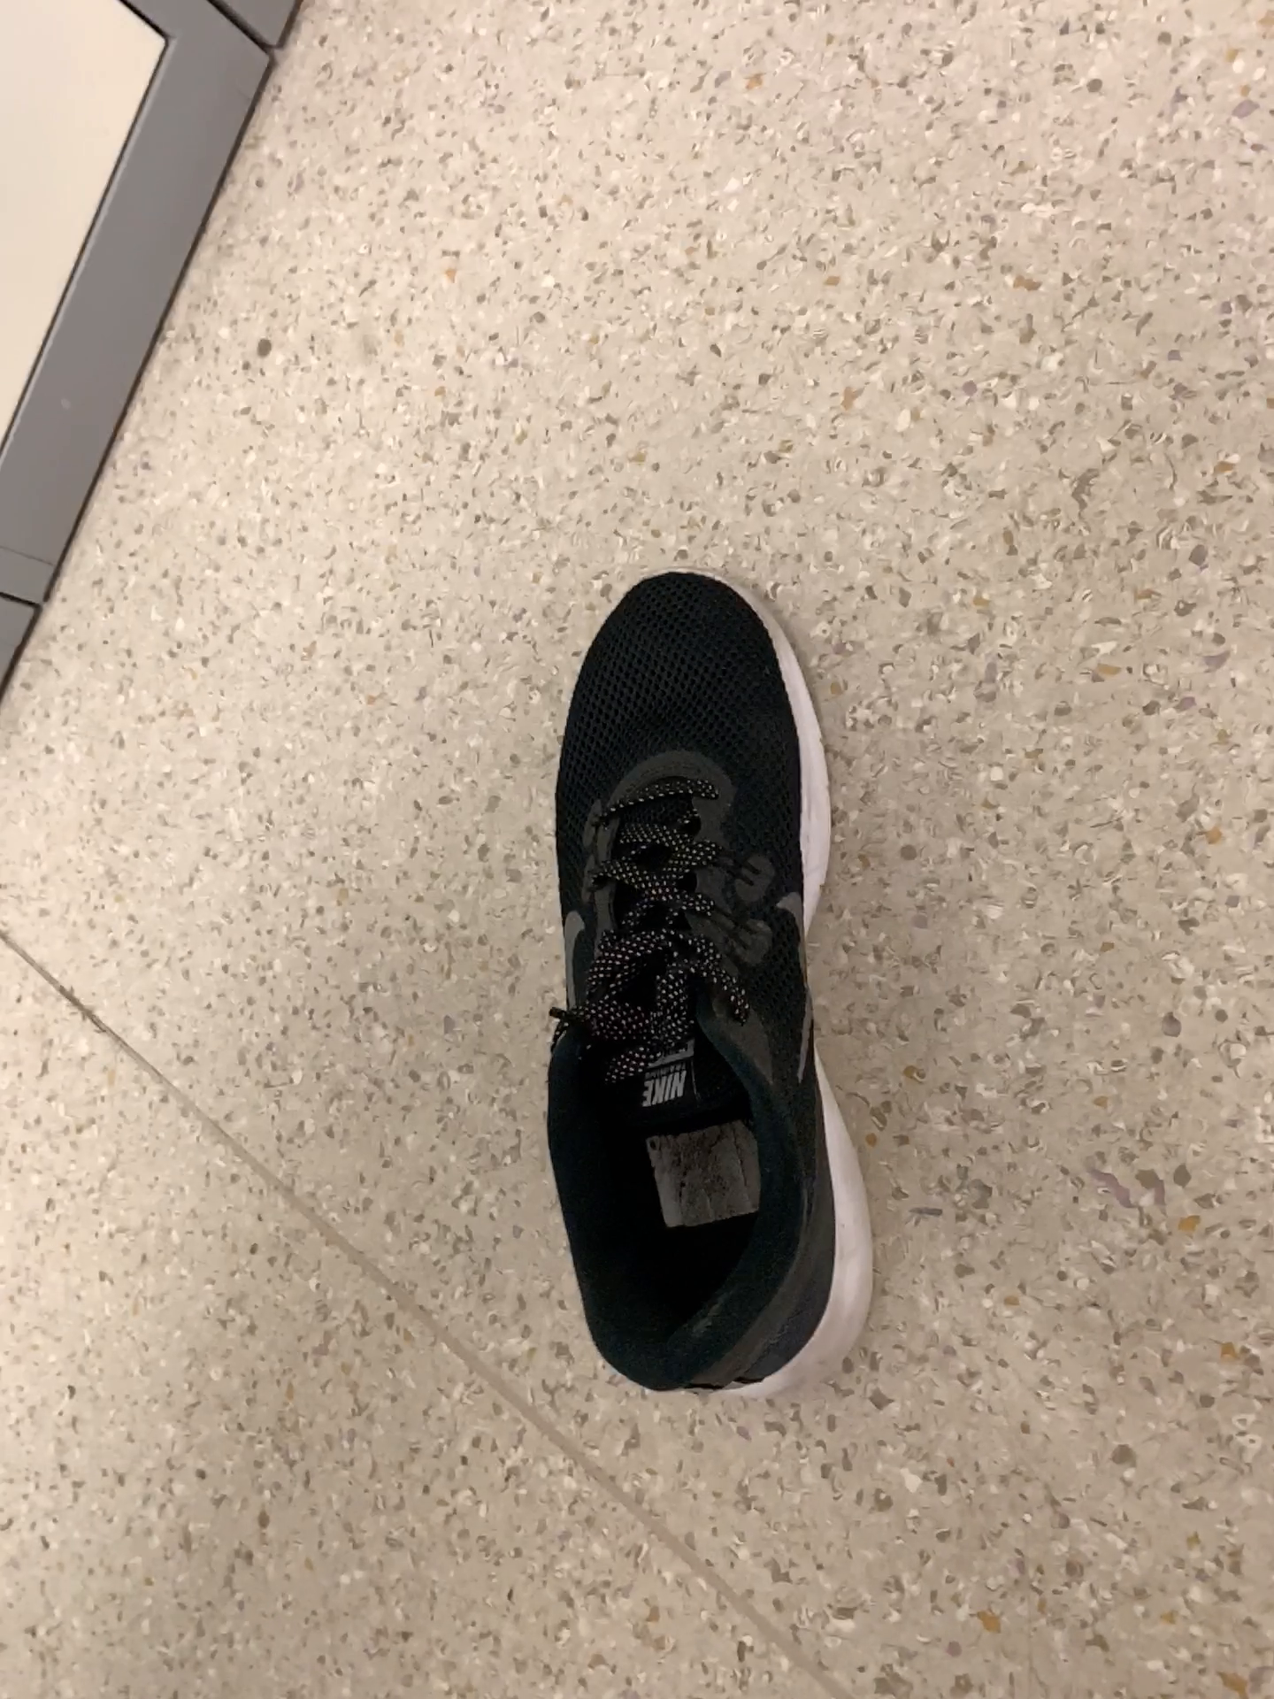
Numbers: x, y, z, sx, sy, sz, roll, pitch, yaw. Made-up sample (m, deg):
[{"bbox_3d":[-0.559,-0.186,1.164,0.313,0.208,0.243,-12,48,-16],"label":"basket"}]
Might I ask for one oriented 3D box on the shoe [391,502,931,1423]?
[{"bbox_3d":[0.005,0.038,0.421,0.113,0.093,0.253,-14,74,26],"label":"shoe"}]
